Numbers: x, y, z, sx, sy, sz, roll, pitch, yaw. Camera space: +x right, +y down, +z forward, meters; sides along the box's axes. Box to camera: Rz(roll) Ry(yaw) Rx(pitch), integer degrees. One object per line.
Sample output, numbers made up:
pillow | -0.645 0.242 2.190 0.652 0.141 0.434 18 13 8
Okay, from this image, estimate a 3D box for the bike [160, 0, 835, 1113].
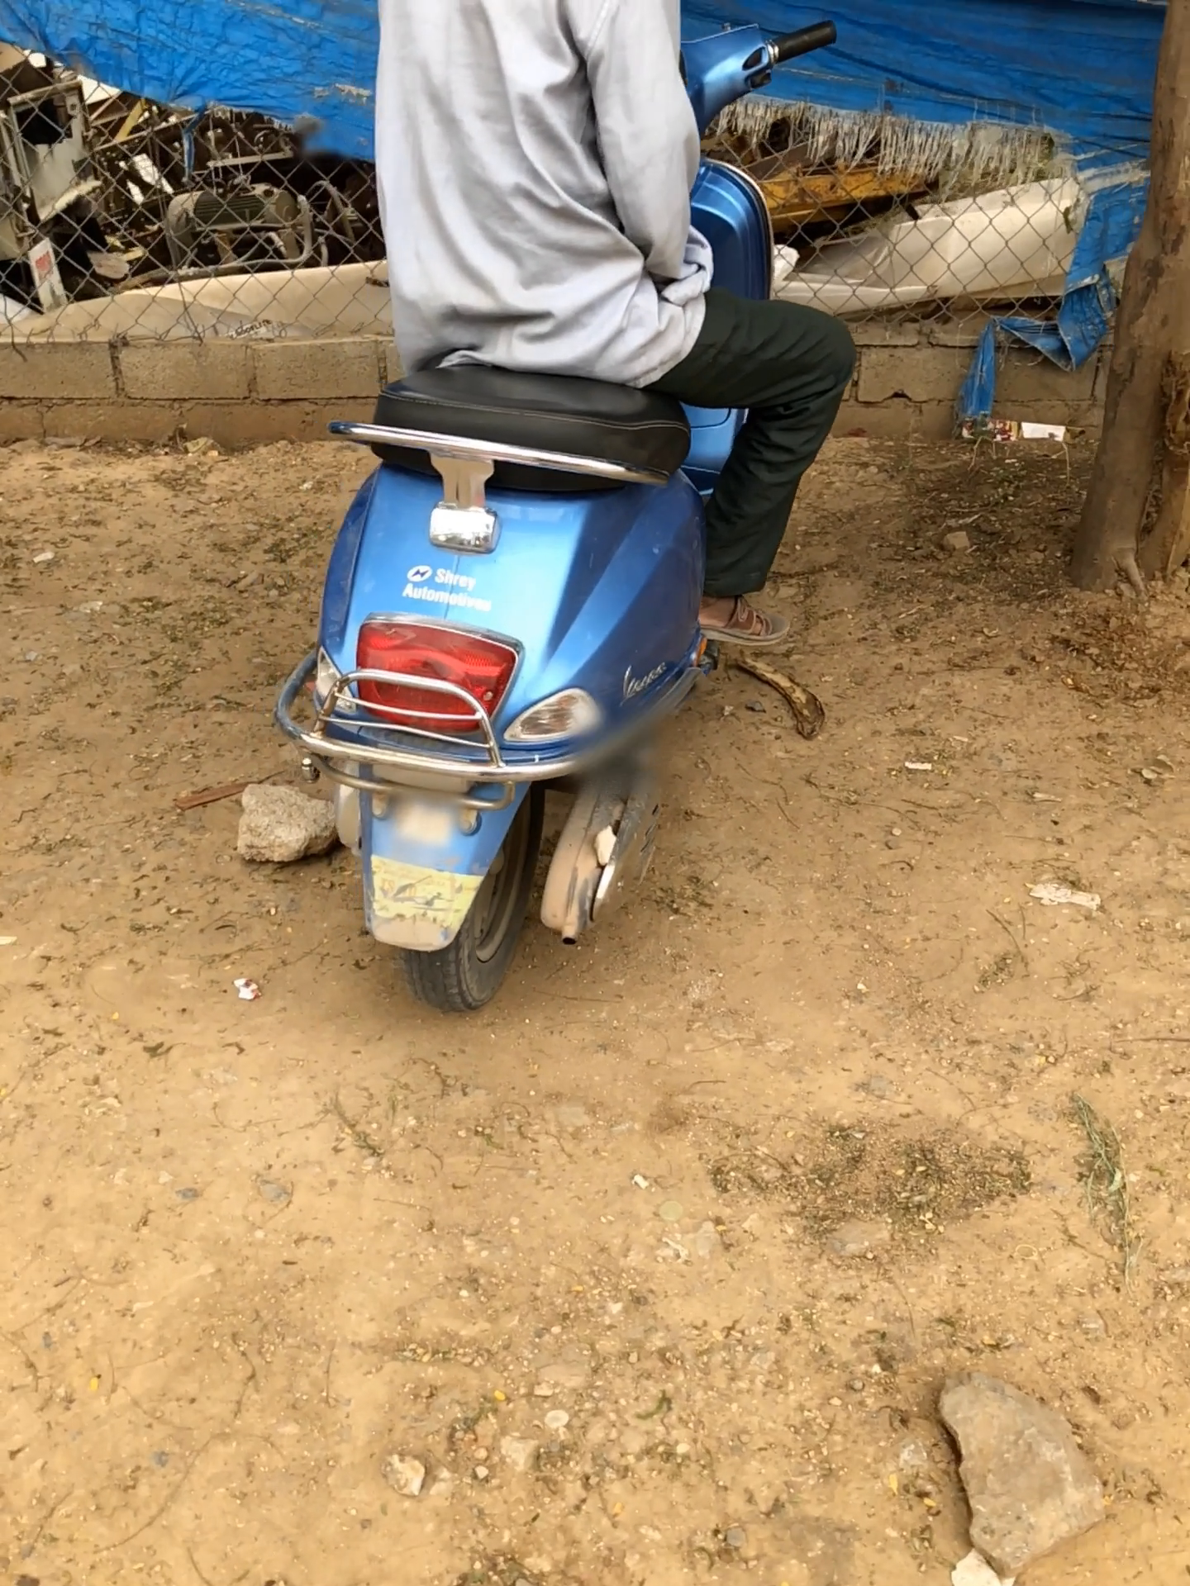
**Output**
bike | -0.056 -0.653 2.100 0.631 1.253 1.577 4 34 5
